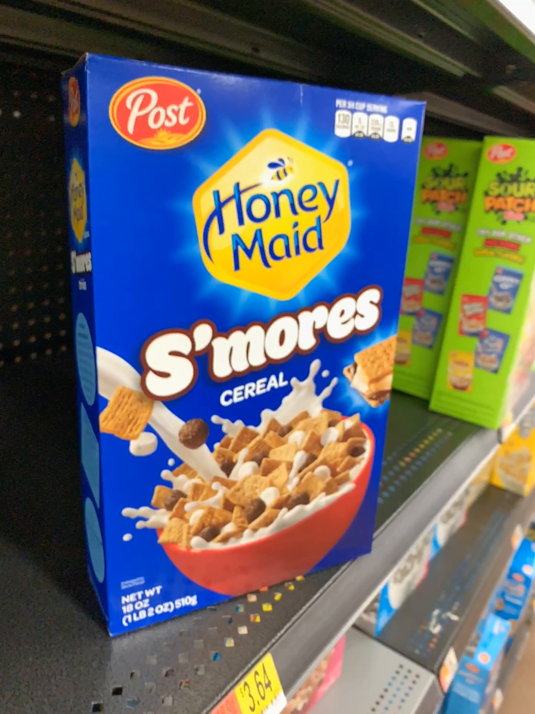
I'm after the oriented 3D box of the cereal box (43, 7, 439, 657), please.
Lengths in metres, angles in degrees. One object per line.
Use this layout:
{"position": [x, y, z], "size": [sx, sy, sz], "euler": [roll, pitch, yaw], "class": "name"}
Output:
{"position": [-0.017, -0.005, 0.343], "size": [0.200, 0.319, 0.070], "euler": [-6, 19, -29], "class": "cereal box"}
